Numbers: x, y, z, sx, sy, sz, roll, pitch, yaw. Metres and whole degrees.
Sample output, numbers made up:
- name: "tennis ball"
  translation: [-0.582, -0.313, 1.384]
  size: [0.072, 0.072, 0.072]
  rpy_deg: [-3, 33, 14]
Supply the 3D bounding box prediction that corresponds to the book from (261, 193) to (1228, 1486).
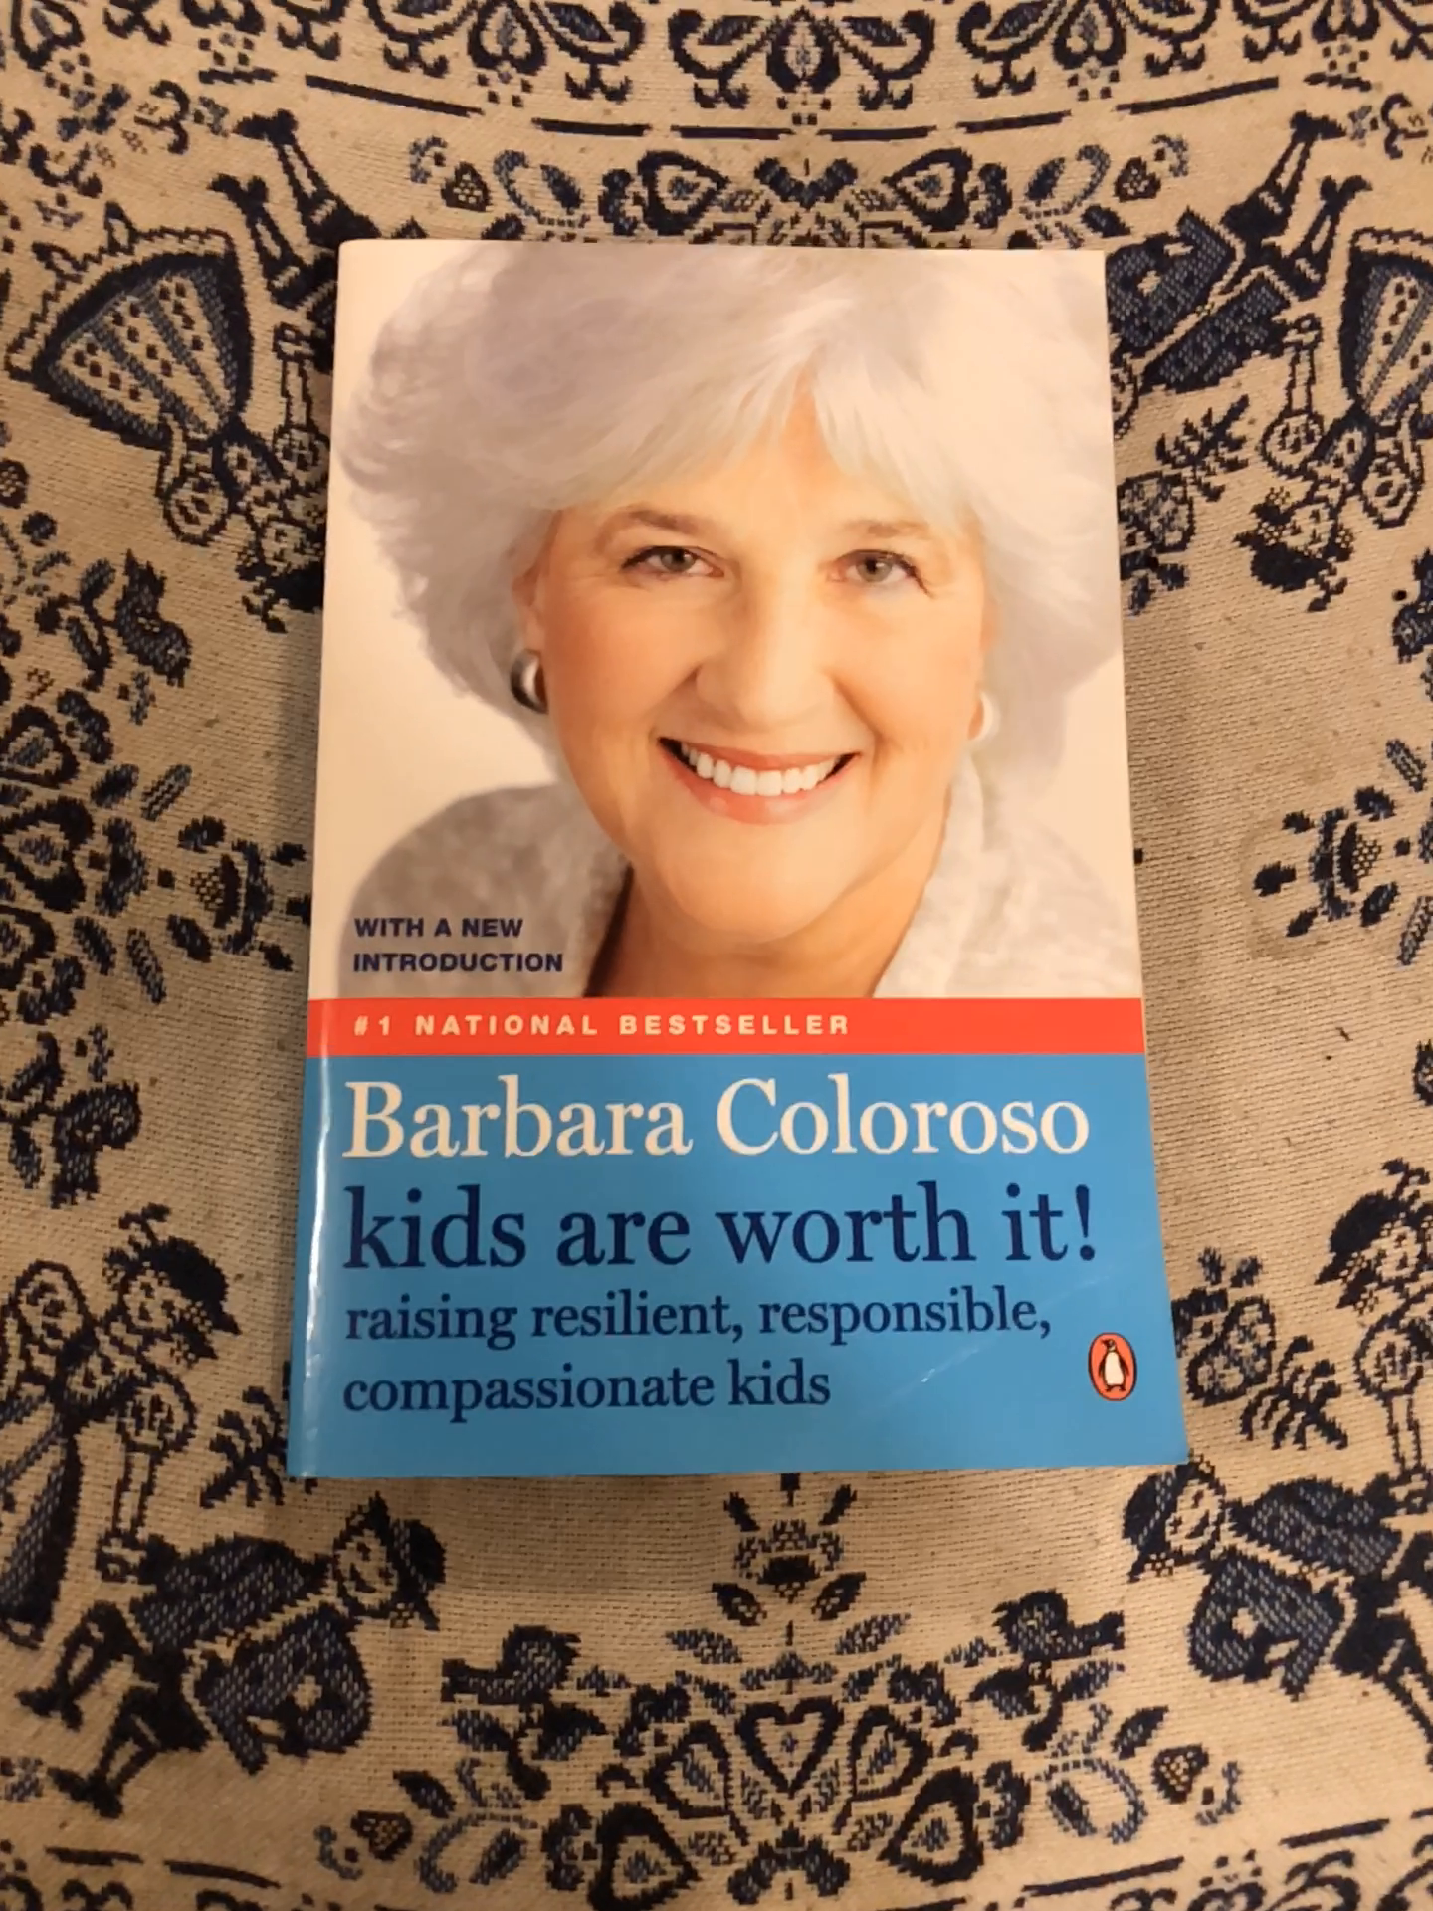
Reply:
- name: "book"
  translation: [0.005, -0.022, 0.290]
  size: [0.150, 0.050, 0.220]
  rpy_deg: [1, 79, -3]
